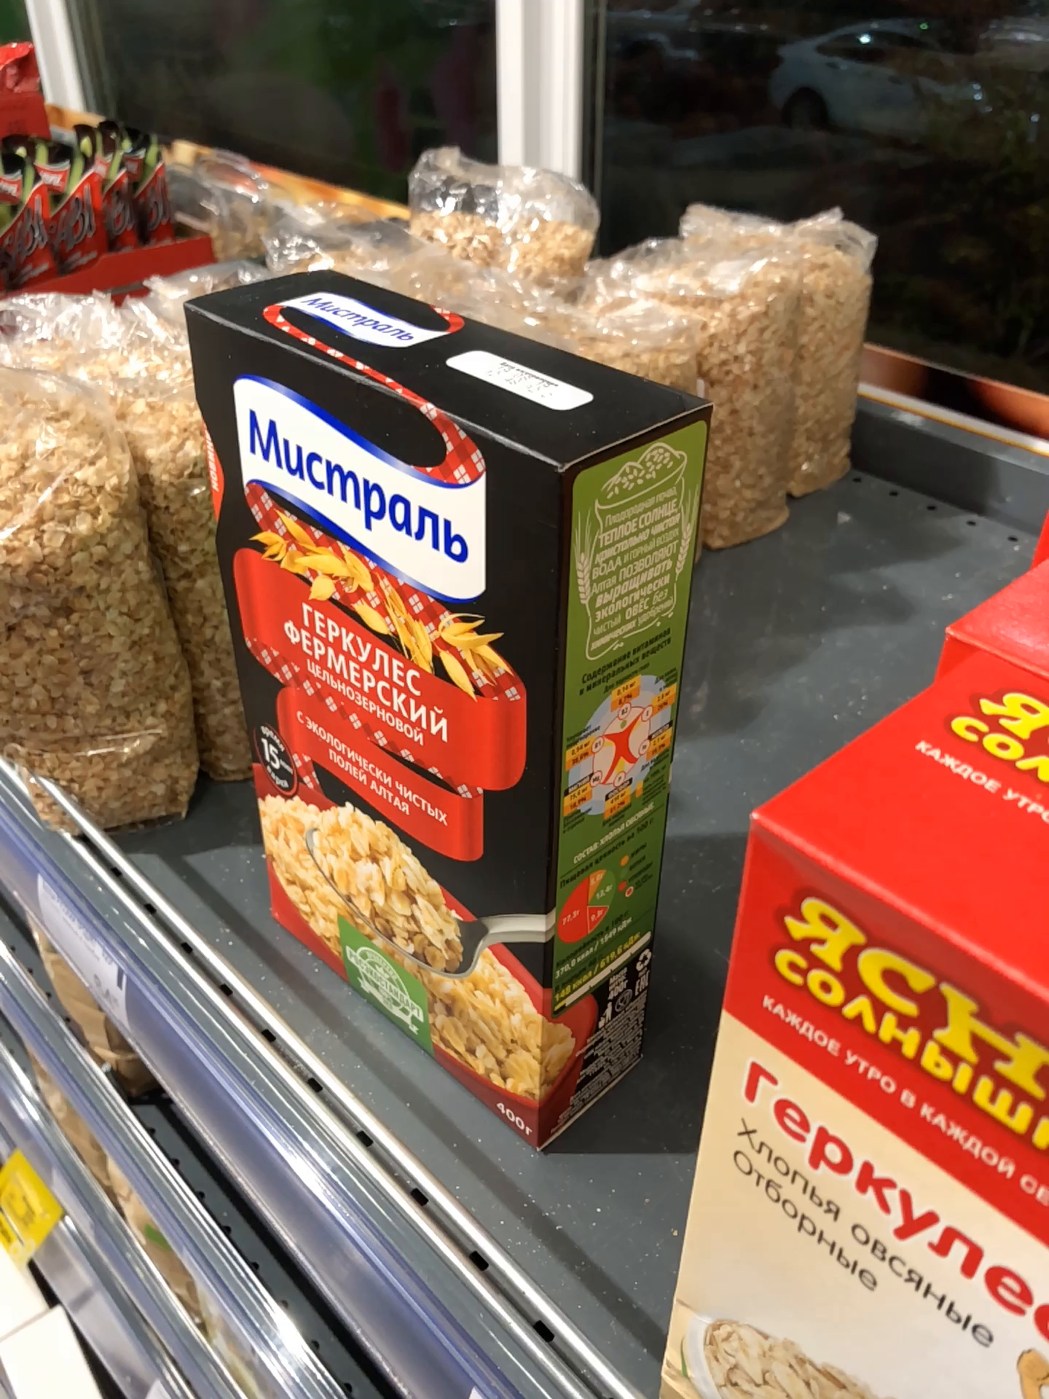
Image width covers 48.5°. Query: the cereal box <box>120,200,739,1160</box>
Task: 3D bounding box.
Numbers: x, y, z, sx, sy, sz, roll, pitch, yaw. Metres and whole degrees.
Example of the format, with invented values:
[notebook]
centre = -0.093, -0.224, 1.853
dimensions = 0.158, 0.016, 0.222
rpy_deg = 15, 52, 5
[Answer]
[cereal box]
centre = -0.027, -0.001, 0.311
dimensions = 0.140, 0.219, 0.050
rpy_deg = 30, 45, 34
